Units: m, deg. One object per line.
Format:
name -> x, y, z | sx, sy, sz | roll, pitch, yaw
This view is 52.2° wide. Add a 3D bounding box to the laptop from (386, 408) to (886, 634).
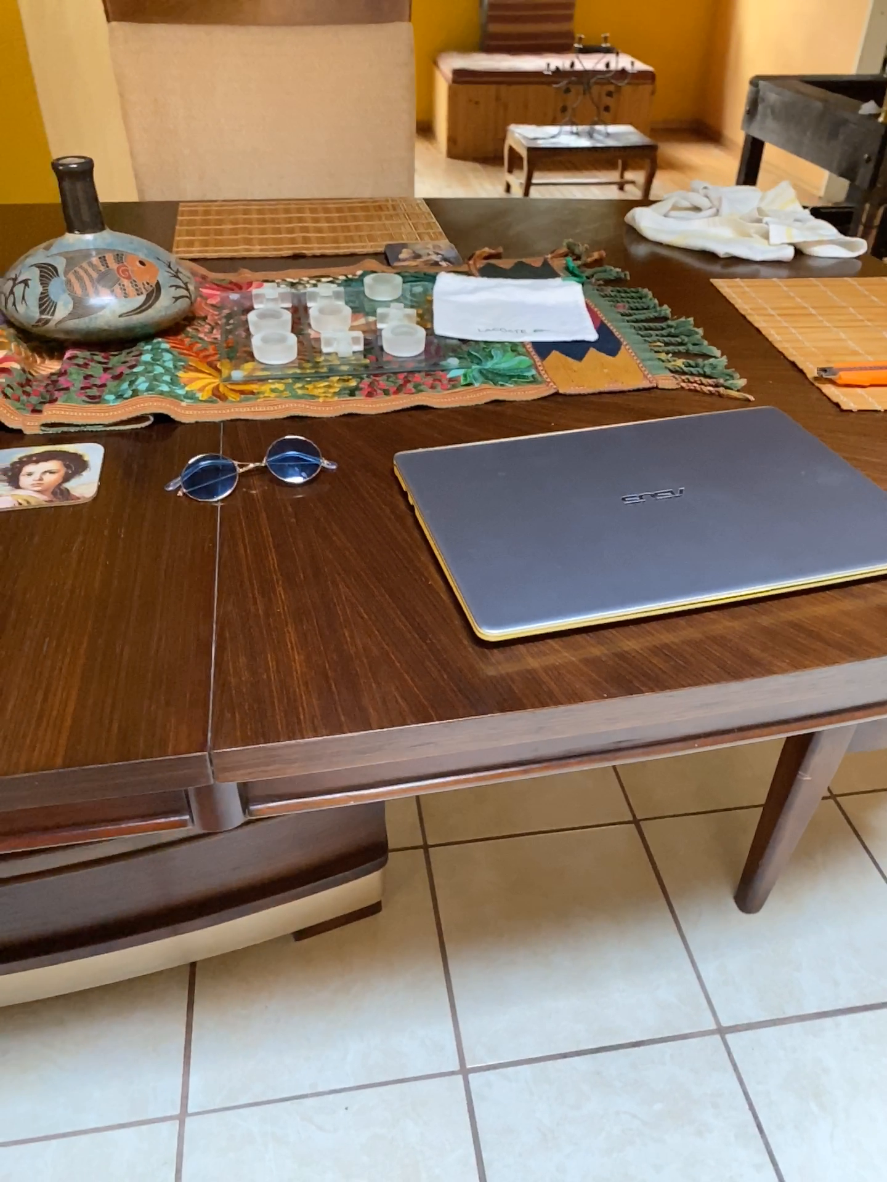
laptop -> 0.165, -0.076, 0.755 | 0.383, 0.001, 0.247 | -9, 39, -14
